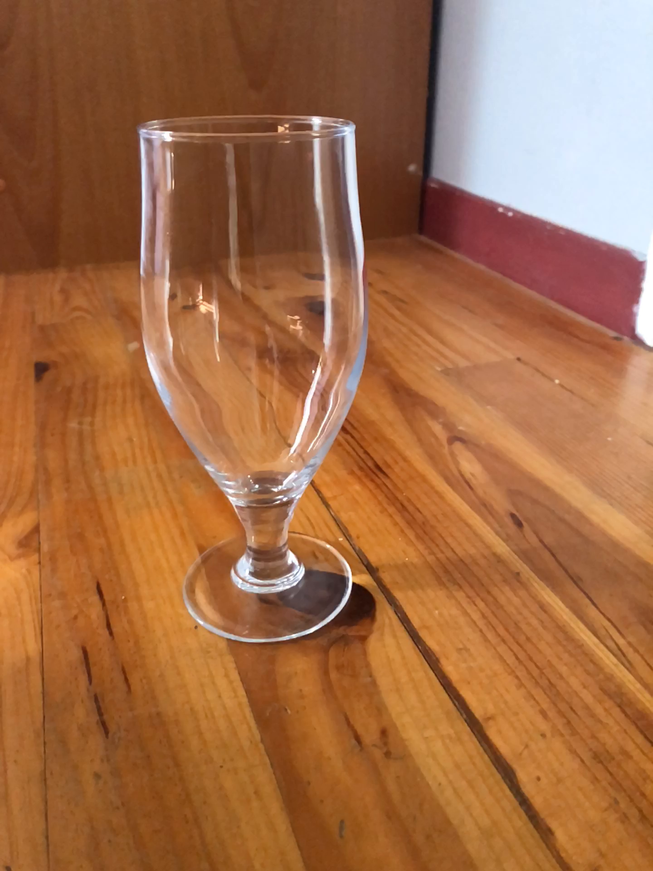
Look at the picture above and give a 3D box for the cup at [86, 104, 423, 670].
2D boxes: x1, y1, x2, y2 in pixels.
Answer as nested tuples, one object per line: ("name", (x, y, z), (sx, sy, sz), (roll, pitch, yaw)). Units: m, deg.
("cup", (-0.027, -0.020, 0.272), (0.083, 0.183, 0.081), (1, 29, 0))
